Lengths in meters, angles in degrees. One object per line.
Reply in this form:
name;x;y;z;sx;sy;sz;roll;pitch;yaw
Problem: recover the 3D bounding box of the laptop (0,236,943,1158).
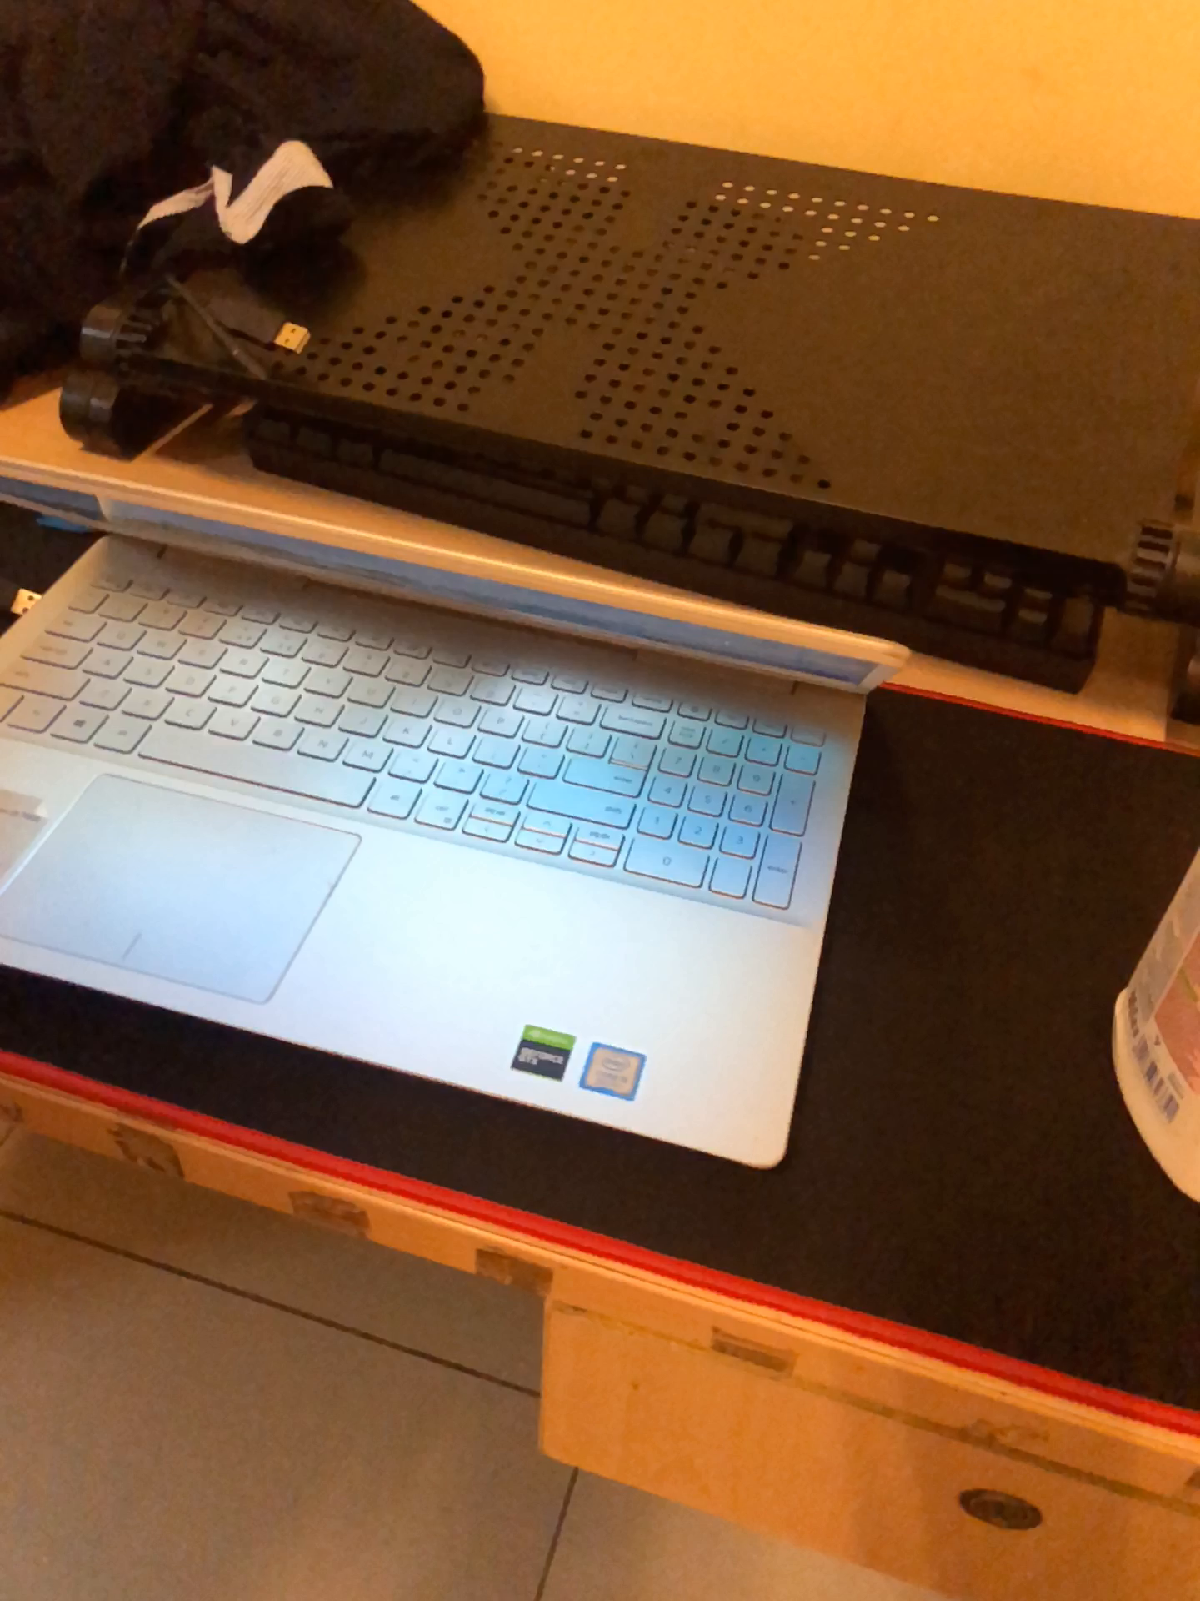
laptop;-0.084;-0.055;0.454;0.351;0.139;0.219;12;45;9
